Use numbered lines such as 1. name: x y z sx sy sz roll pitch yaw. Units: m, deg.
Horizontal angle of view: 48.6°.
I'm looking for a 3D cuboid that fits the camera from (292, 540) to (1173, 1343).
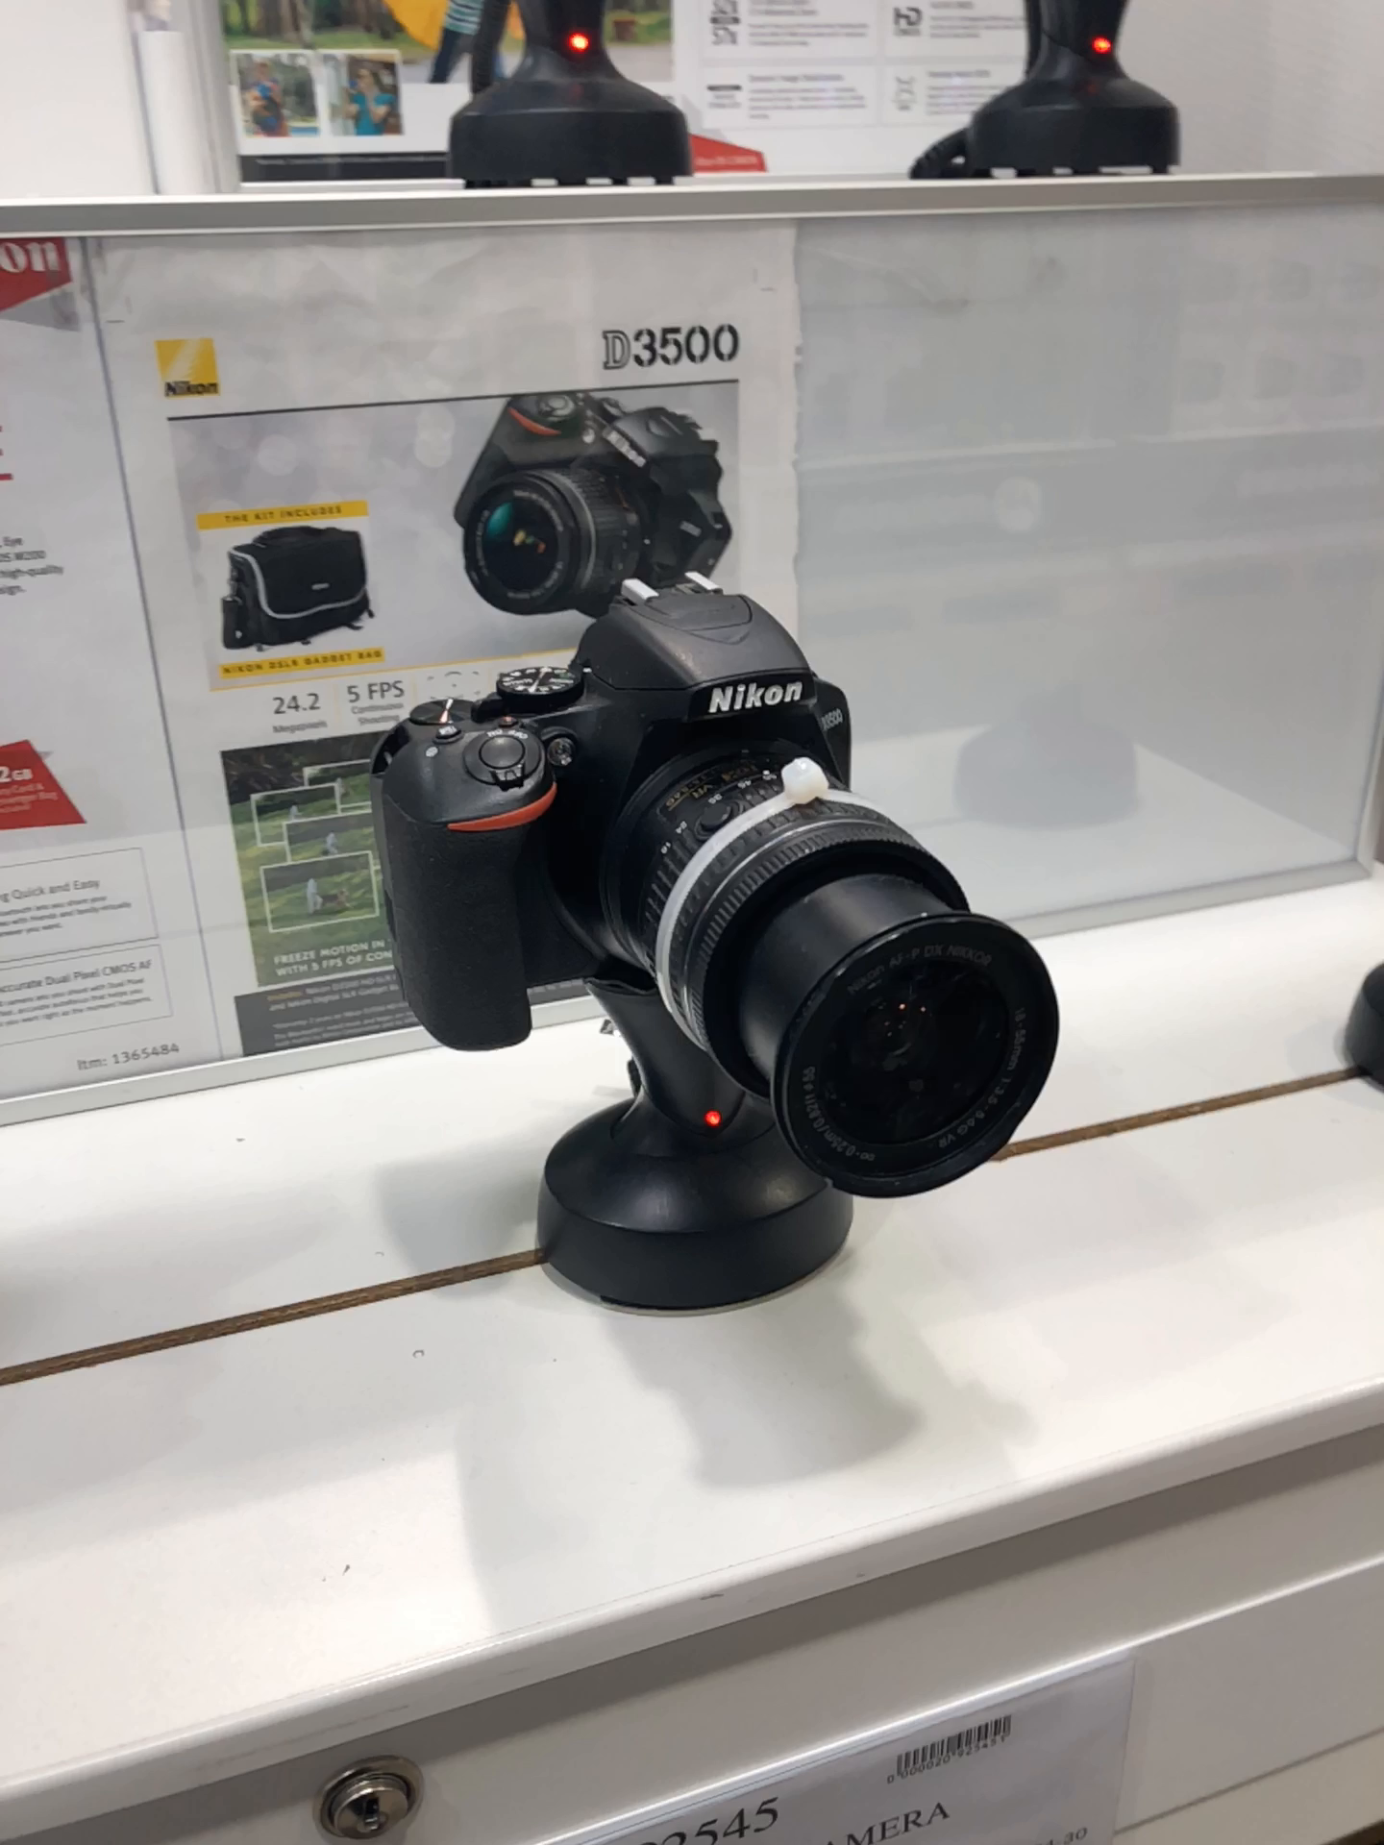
1. camera: -0.005 -0.017 0.380 0.140 0.110 0.191 -11 26 -20
